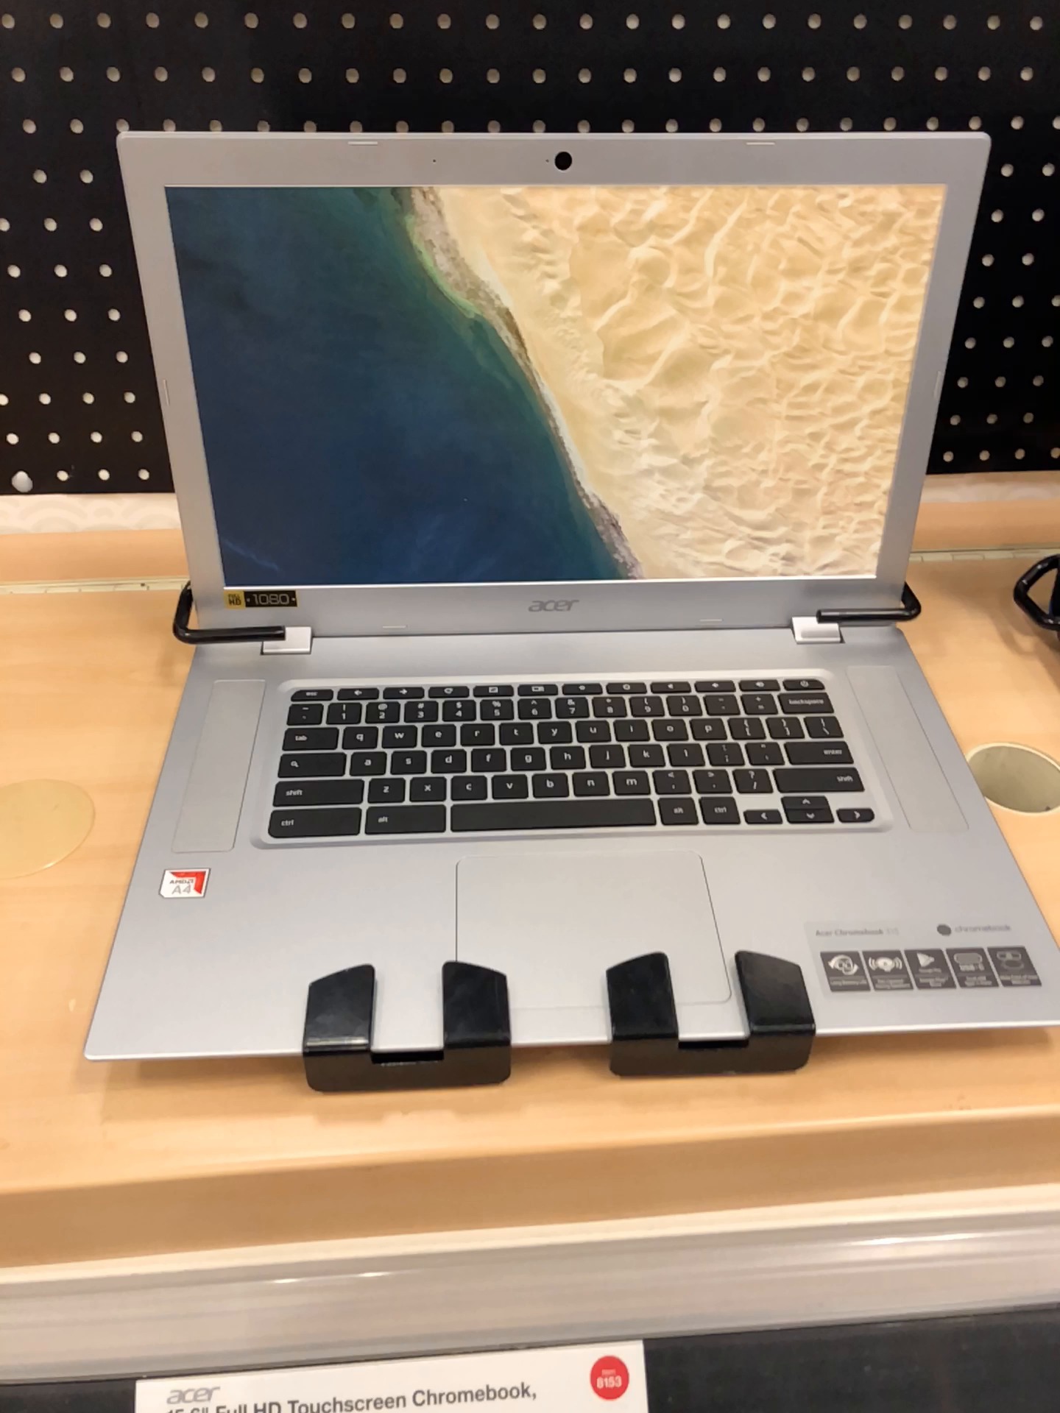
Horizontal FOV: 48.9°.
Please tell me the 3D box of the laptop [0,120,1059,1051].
[{"bbox_3d":[0.017,-0.073,0.486,0.371,0.246,0.287,-2,35,-3],"label":"laptop"}]
